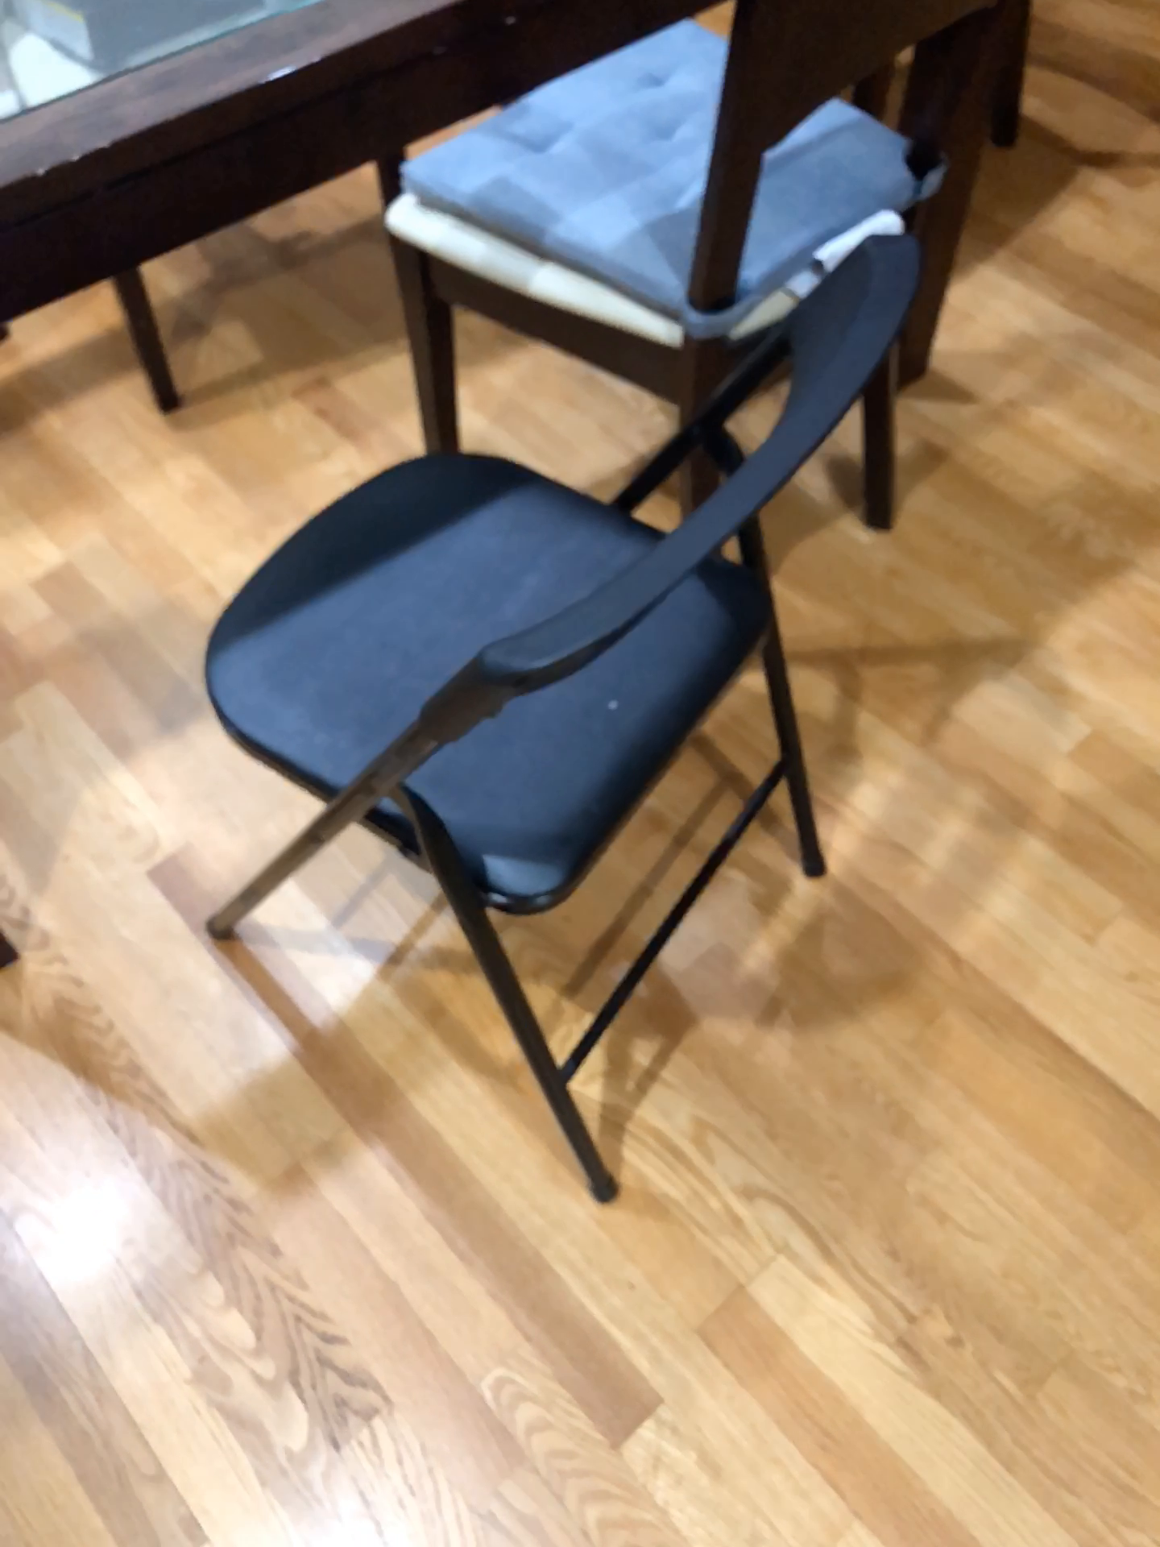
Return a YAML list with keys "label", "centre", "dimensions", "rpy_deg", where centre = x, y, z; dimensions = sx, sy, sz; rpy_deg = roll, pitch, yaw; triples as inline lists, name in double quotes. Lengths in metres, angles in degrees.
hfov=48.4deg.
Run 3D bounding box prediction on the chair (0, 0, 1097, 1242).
- label: "chair"
  centre: [-0.039, -0.094, 1.039]
  dimensions: [0.521, 0.697, 0.521]
  rpy_deg: [29, 60, 21]
